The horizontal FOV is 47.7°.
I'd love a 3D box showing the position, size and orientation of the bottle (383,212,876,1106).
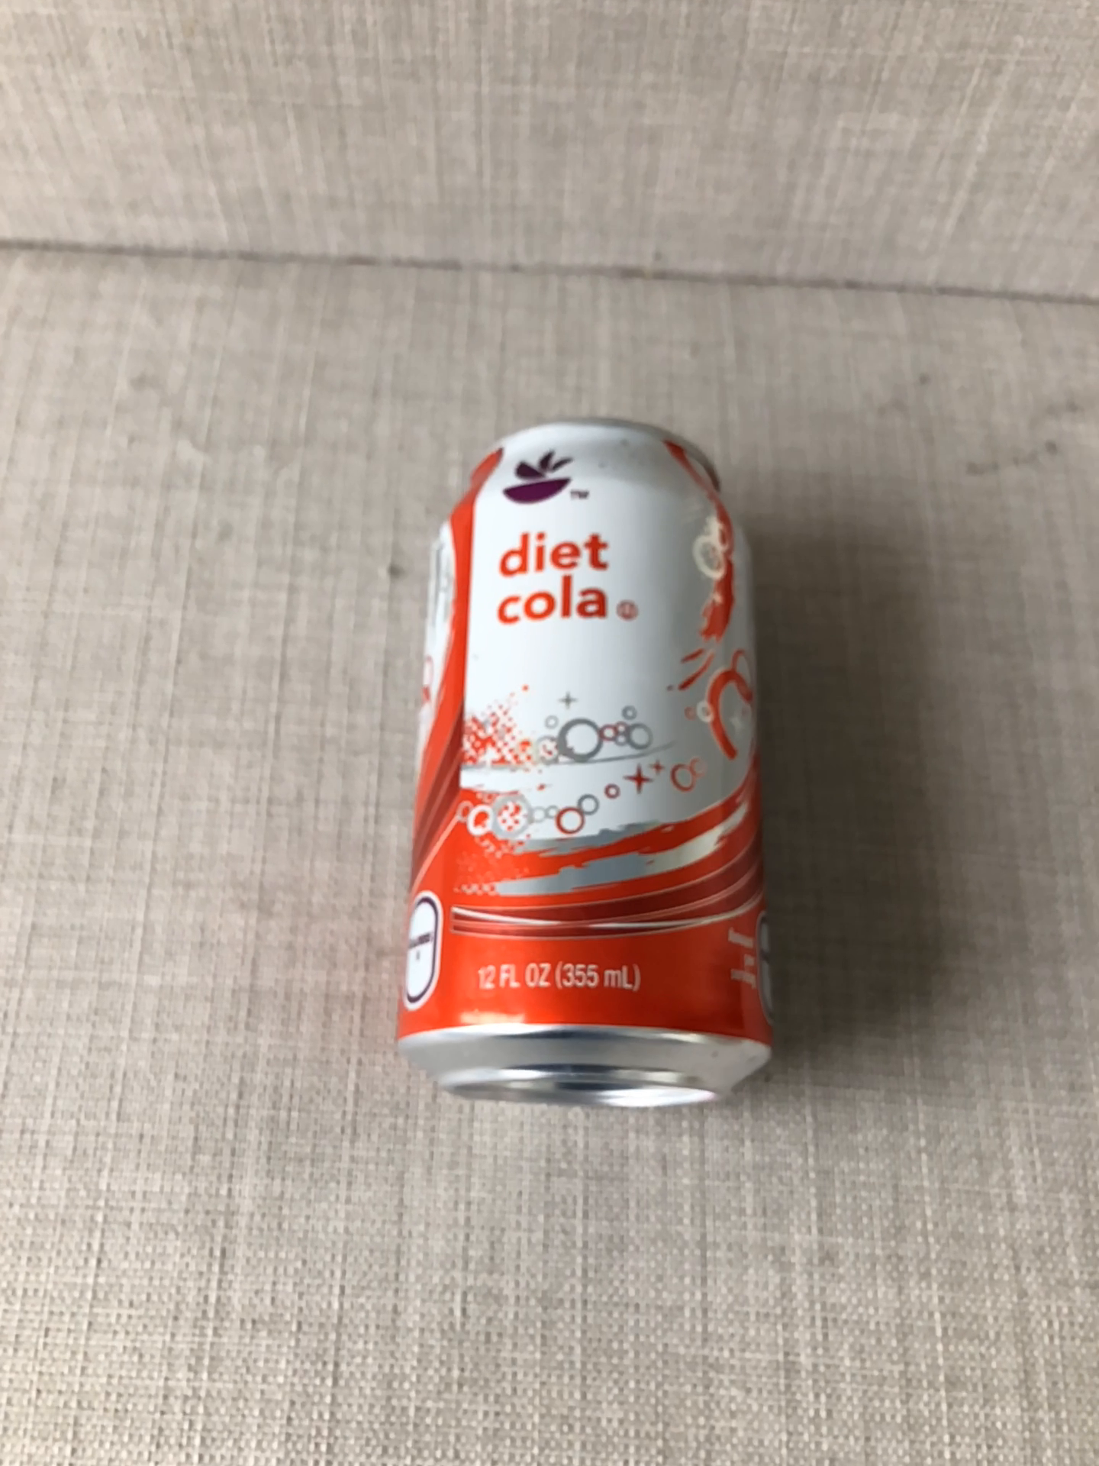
[{"bbox_3d":[0.011,-0.011,0.229,0.070,0.062,0.149,2,72,-4],"label":"bottle"}]
